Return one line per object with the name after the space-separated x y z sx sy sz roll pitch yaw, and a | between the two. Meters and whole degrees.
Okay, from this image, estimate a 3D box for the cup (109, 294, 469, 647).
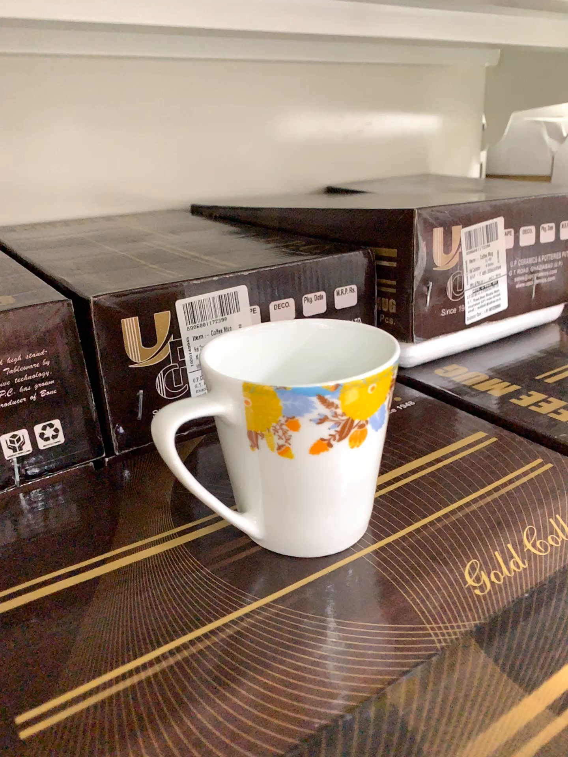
0.002 0.020 0.199 0.090 0.070 0.070 -16 25 -30 | cup
